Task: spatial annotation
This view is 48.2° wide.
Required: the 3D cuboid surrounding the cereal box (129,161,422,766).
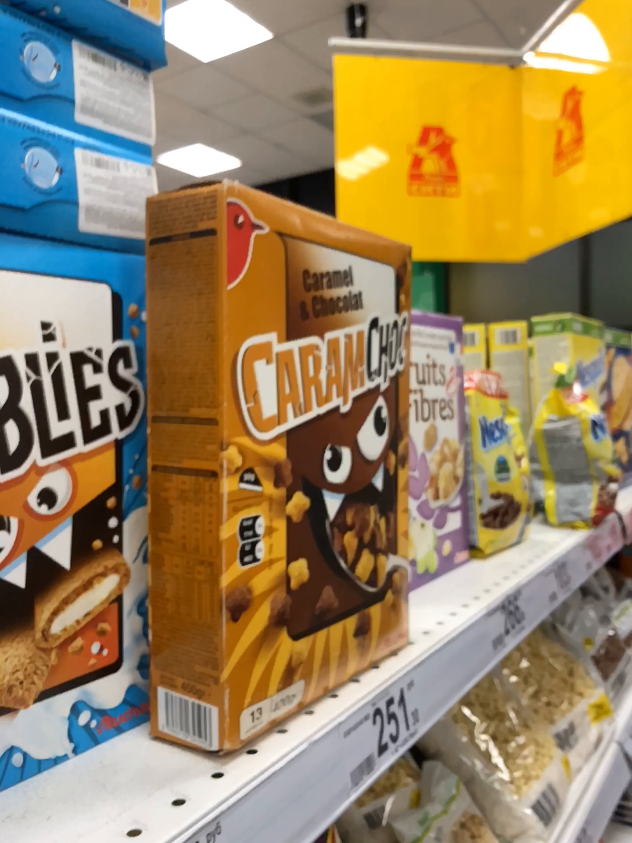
[{"bbox_3d":[-0.011,0.016,0.414,0.060,0.270,0.200,2,3,34],"label":"cereal box"}]
